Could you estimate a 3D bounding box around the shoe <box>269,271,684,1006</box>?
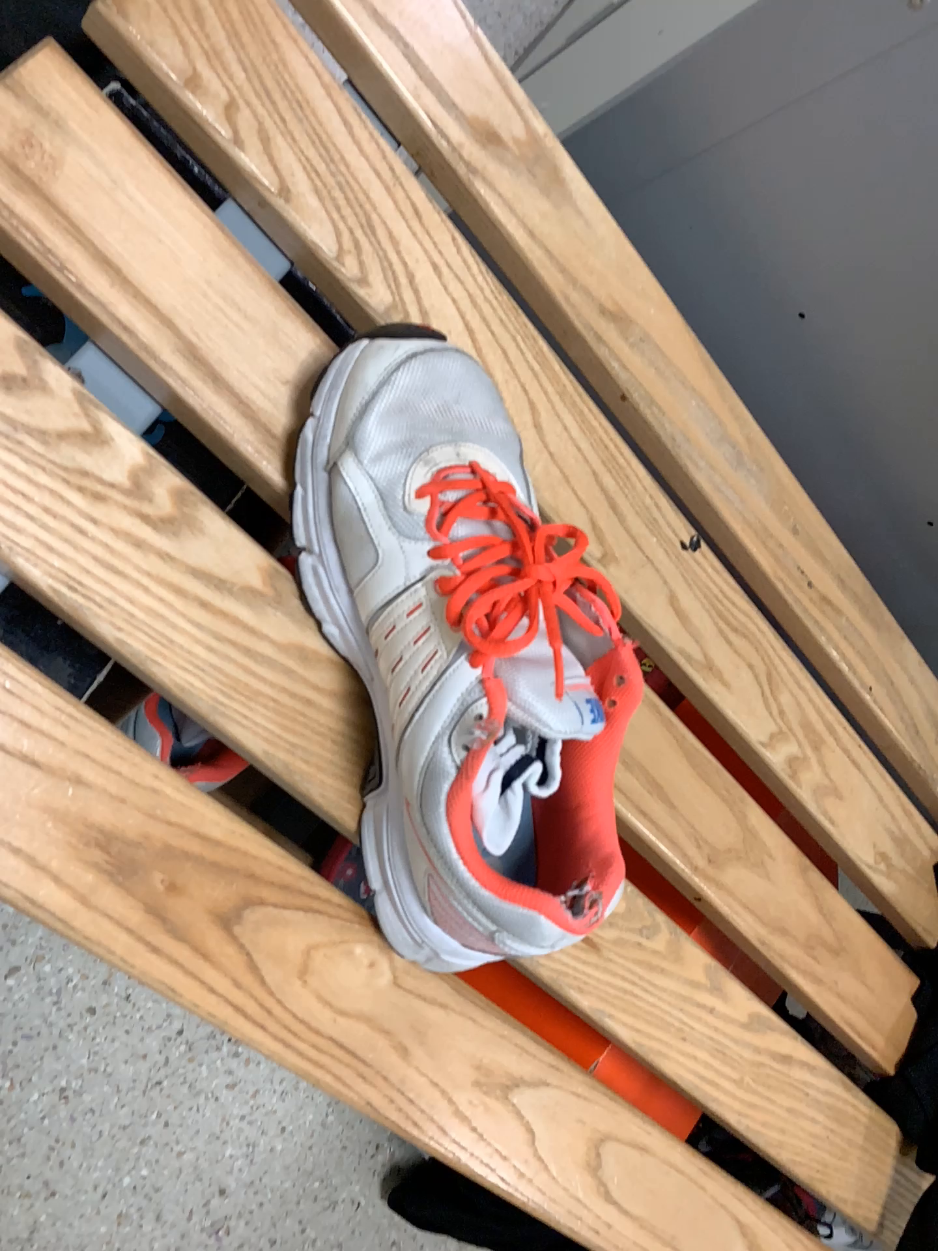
[{"bbox_3d":[0.004,0.001,0.376,0.111,0.079,0.241,-8,92,-37],"label":"shoe"}]
